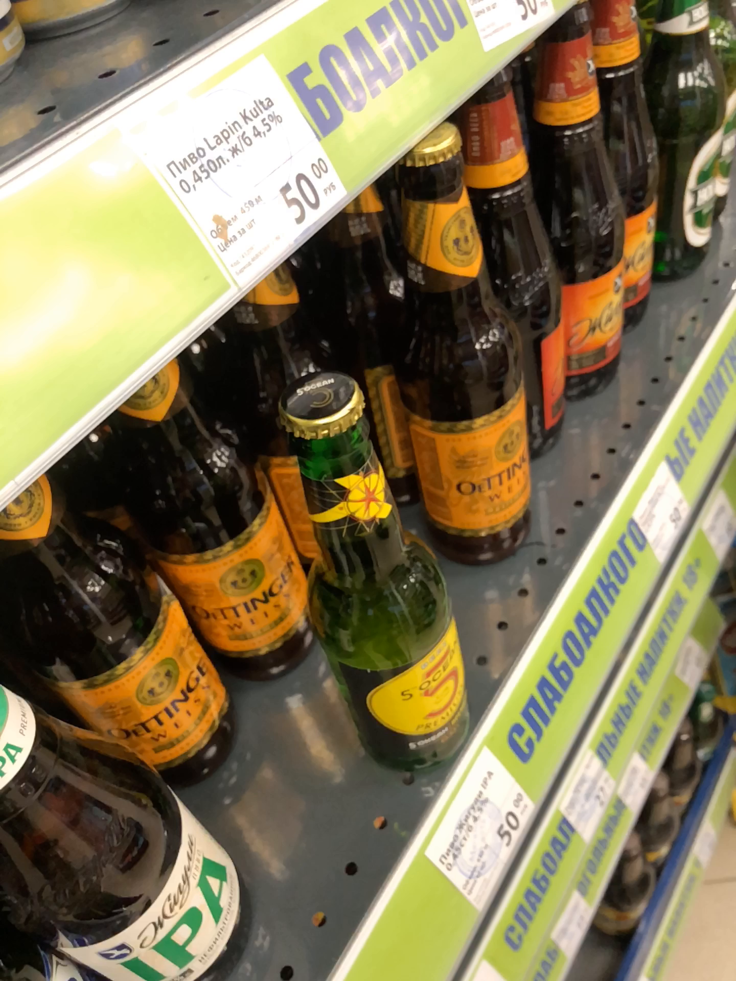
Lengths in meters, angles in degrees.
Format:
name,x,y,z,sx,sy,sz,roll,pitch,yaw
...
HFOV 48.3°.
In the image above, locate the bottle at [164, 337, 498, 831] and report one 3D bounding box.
name,x,y,z,sx,sy,sz,roll,pitch,yaw
bottle,0.000,0.051,0.337,0.070,0.210,0.070,-6,47,7
